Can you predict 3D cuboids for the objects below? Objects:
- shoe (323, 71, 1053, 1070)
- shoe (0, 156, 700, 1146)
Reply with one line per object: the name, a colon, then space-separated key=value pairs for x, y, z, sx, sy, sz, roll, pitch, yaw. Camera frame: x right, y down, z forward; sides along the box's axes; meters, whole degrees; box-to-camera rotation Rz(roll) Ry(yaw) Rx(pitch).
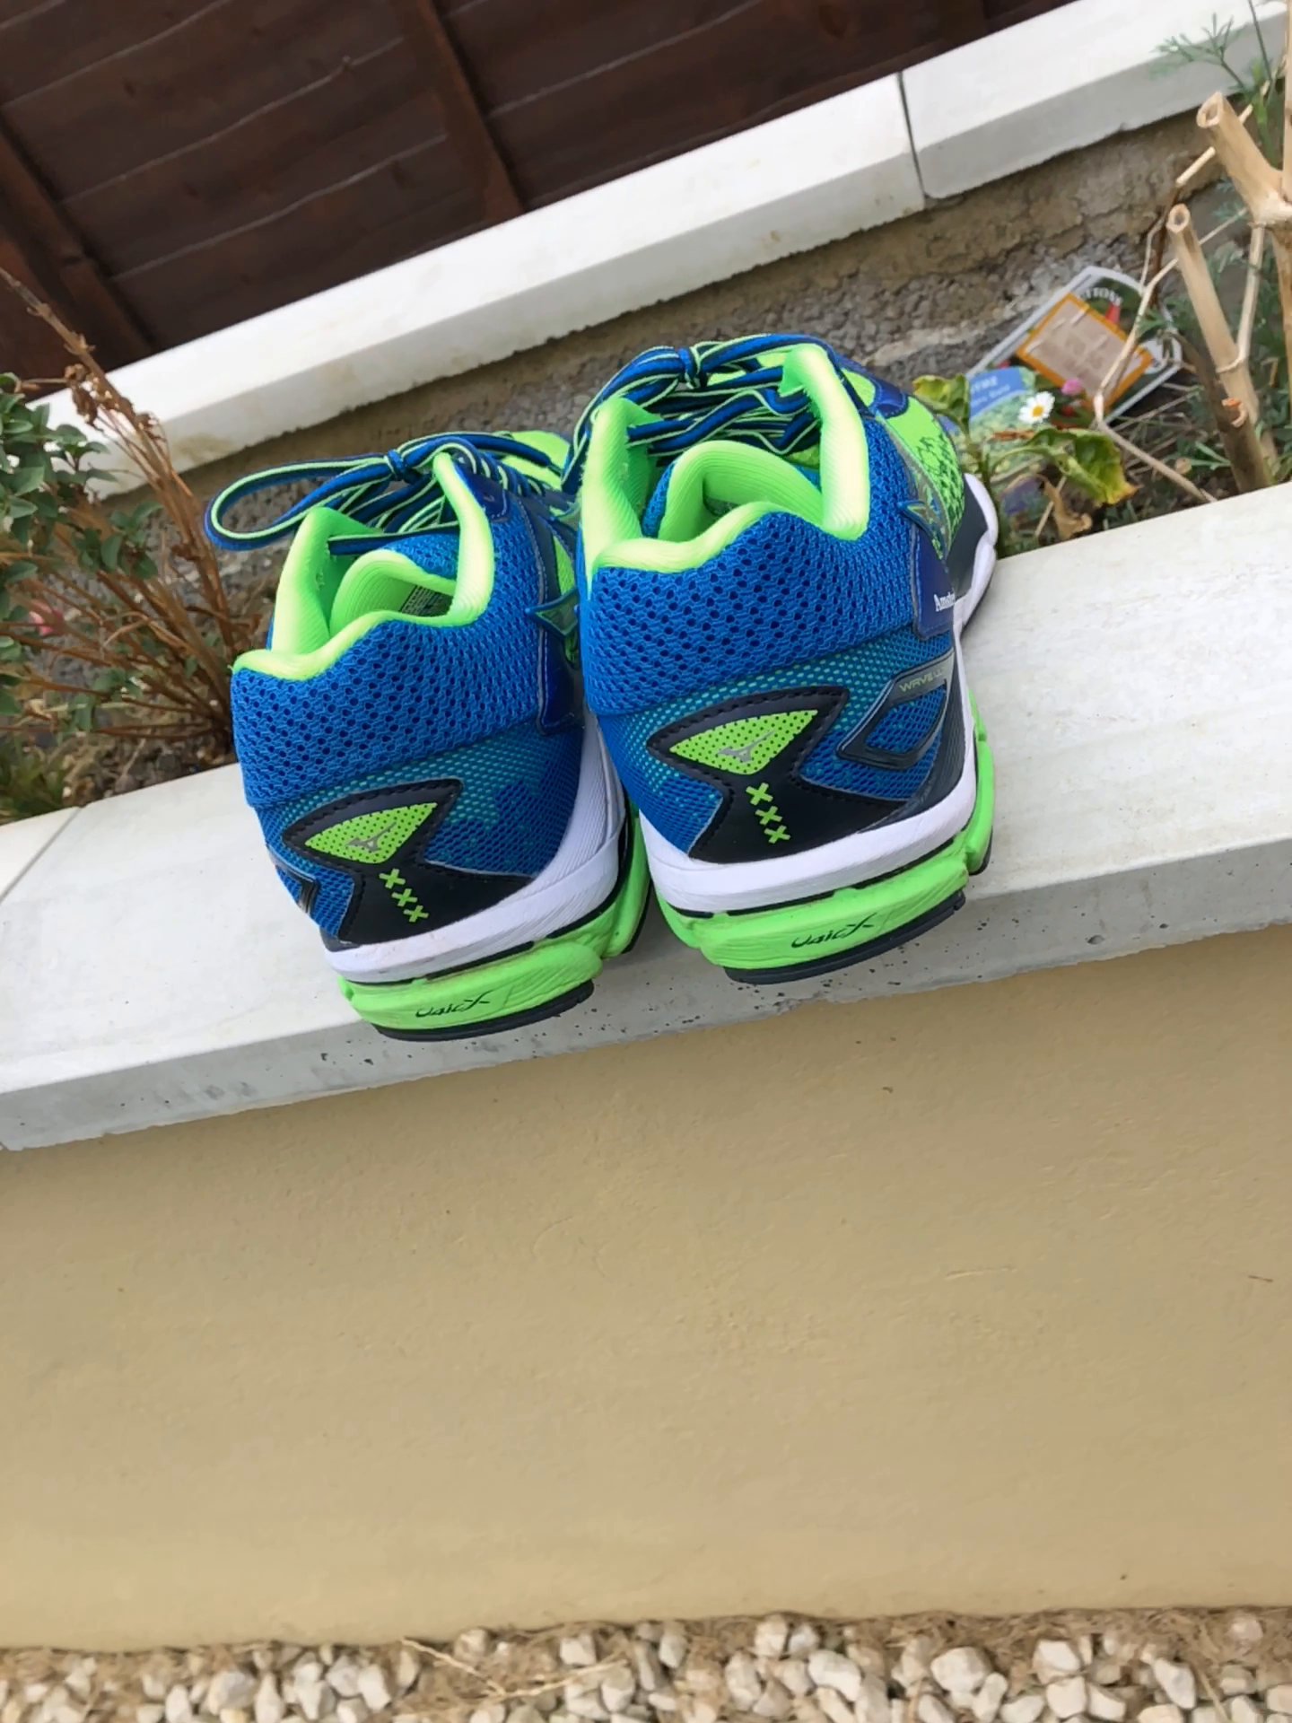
shoe: x=0.026 y=-0.101 z=0.393 sx=0.110 sy=0.119 sz=0.292 roll=-13 pitch=37 yaw=17
shoe: x=-0.067 y=-0.083 z=0.418 sx=0.110 sy=0.119 sz=0.292 roll=-18 pitch=40 yaw=12
